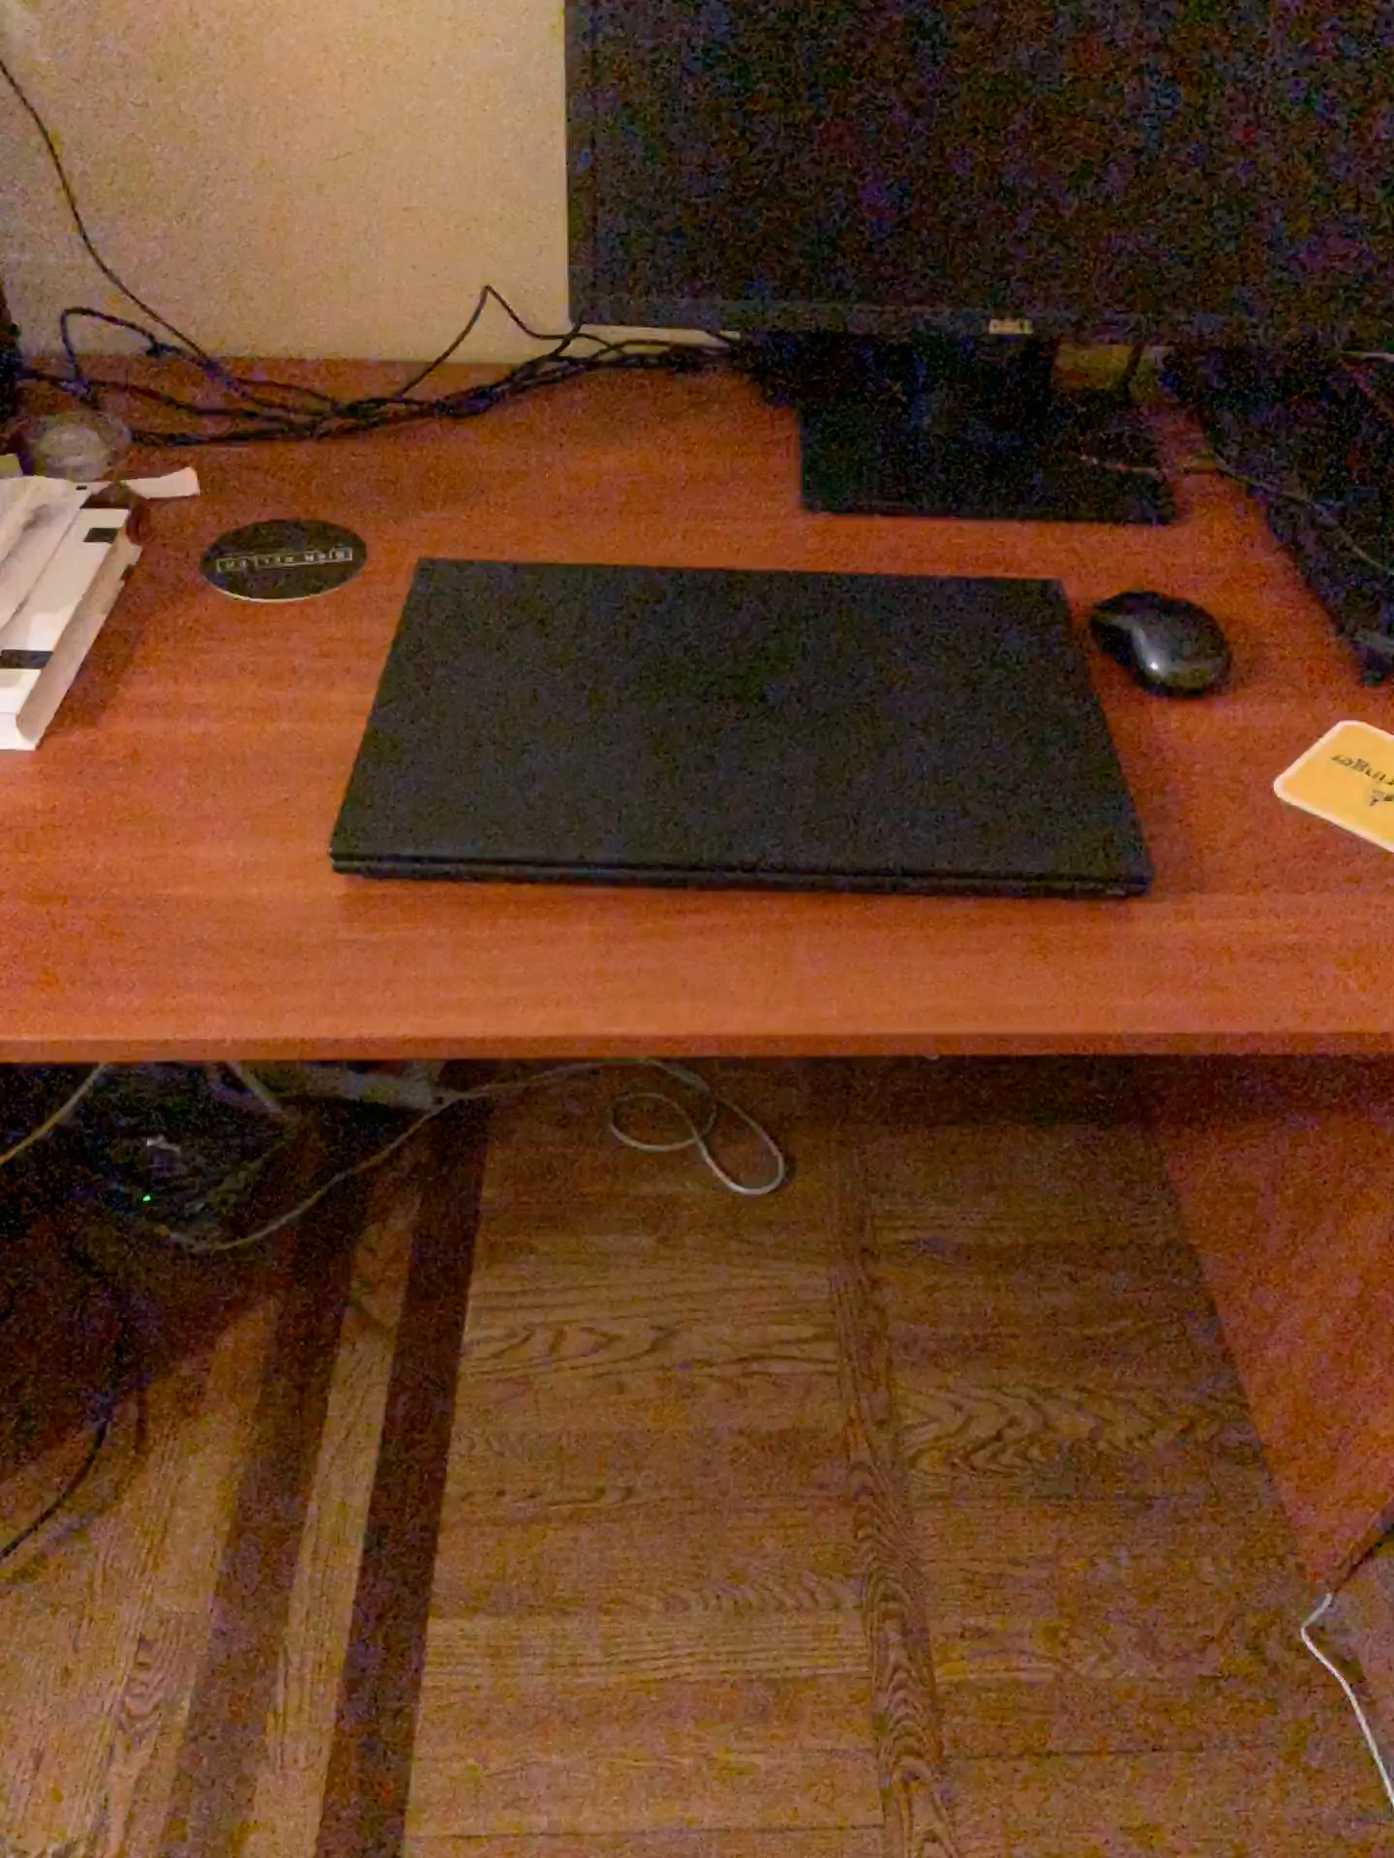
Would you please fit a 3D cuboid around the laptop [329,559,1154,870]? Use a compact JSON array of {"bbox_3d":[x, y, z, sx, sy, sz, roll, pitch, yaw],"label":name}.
[{"bbox_3d":[0.023,-0.115,0.692,0.351,0.001,0.249,2,43,-1],"label":"laptop"}]
